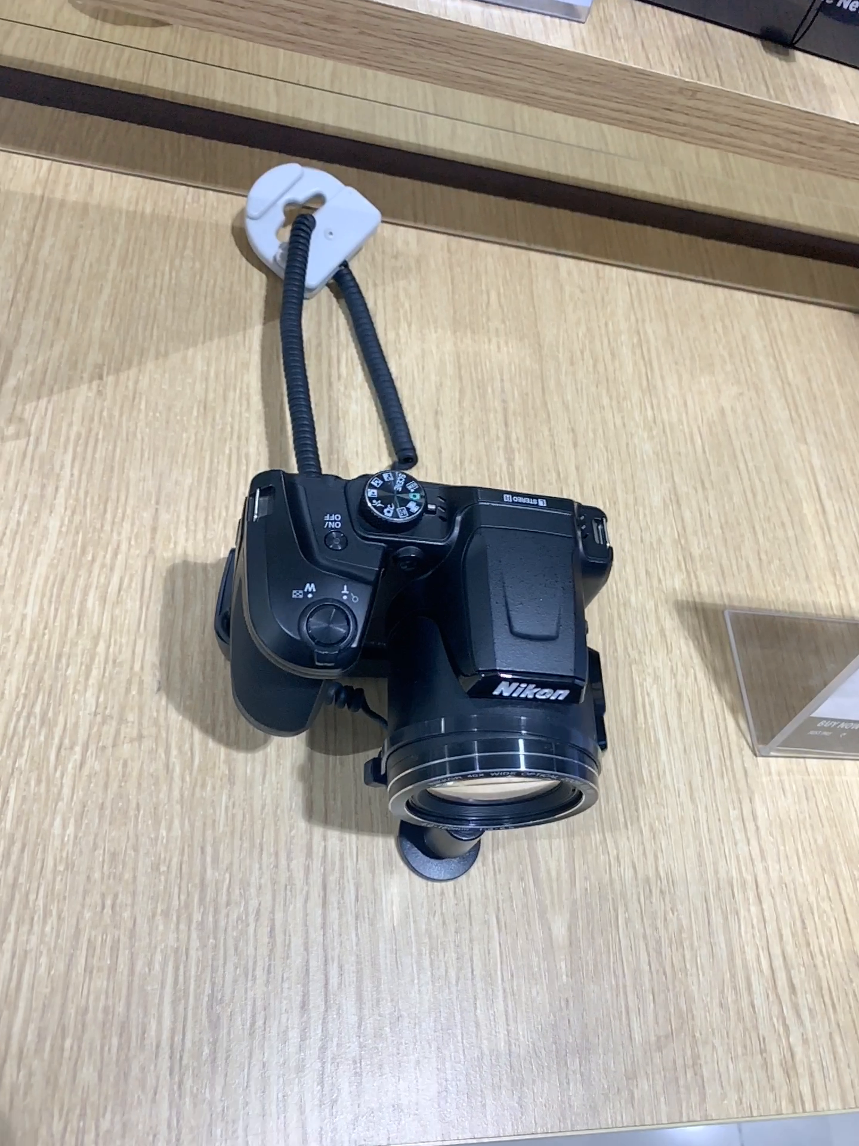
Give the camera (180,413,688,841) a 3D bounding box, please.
[{"bbox_3d":[-0.006,0.022,0.261,0.120,0.080,0.090,6,60,-14],"label":"camera"}]
